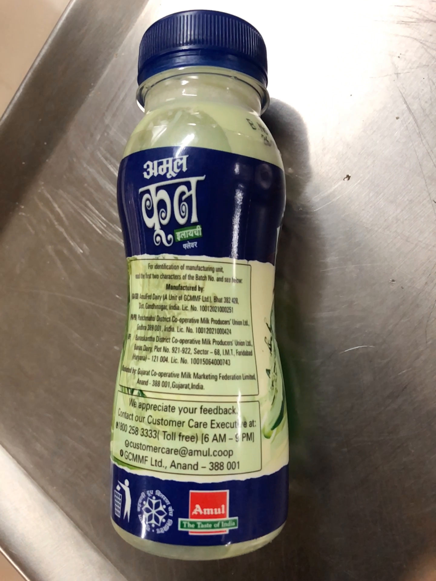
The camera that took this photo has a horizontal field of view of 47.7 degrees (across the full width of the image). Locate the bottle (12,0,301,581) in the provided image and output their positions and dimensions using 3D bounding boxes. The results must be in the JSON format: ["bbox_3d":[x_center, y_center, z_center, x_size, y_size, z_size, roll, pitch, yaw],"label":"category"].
[{"bbox_3d":[-0.010,0.000,0.116,0.050,0.040,0.150,-1,85,23],"label":"bottle"}]
